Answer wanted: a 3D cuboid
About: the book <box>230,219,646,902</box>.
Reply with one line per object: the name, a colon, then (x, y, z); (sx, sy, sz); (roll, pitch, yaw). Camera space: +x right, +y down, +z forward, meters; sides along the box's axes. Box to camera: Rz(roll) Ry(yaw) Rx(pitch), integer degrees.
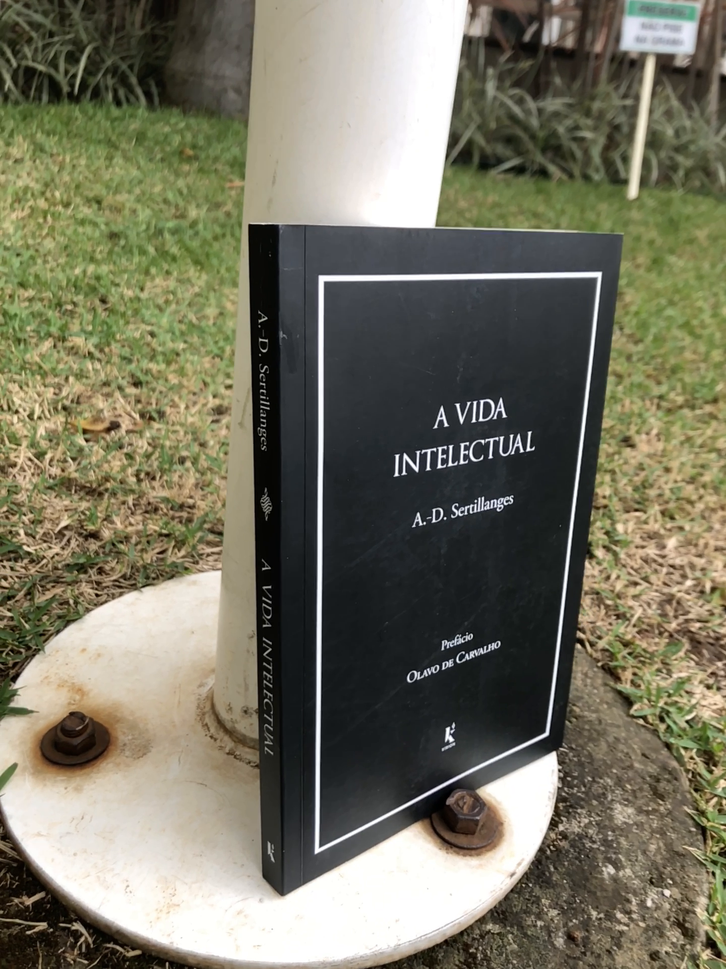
book: (0.029, 0.017, 0.264); (0.141, 0.193, 0.025); (-11, 20, -35)
